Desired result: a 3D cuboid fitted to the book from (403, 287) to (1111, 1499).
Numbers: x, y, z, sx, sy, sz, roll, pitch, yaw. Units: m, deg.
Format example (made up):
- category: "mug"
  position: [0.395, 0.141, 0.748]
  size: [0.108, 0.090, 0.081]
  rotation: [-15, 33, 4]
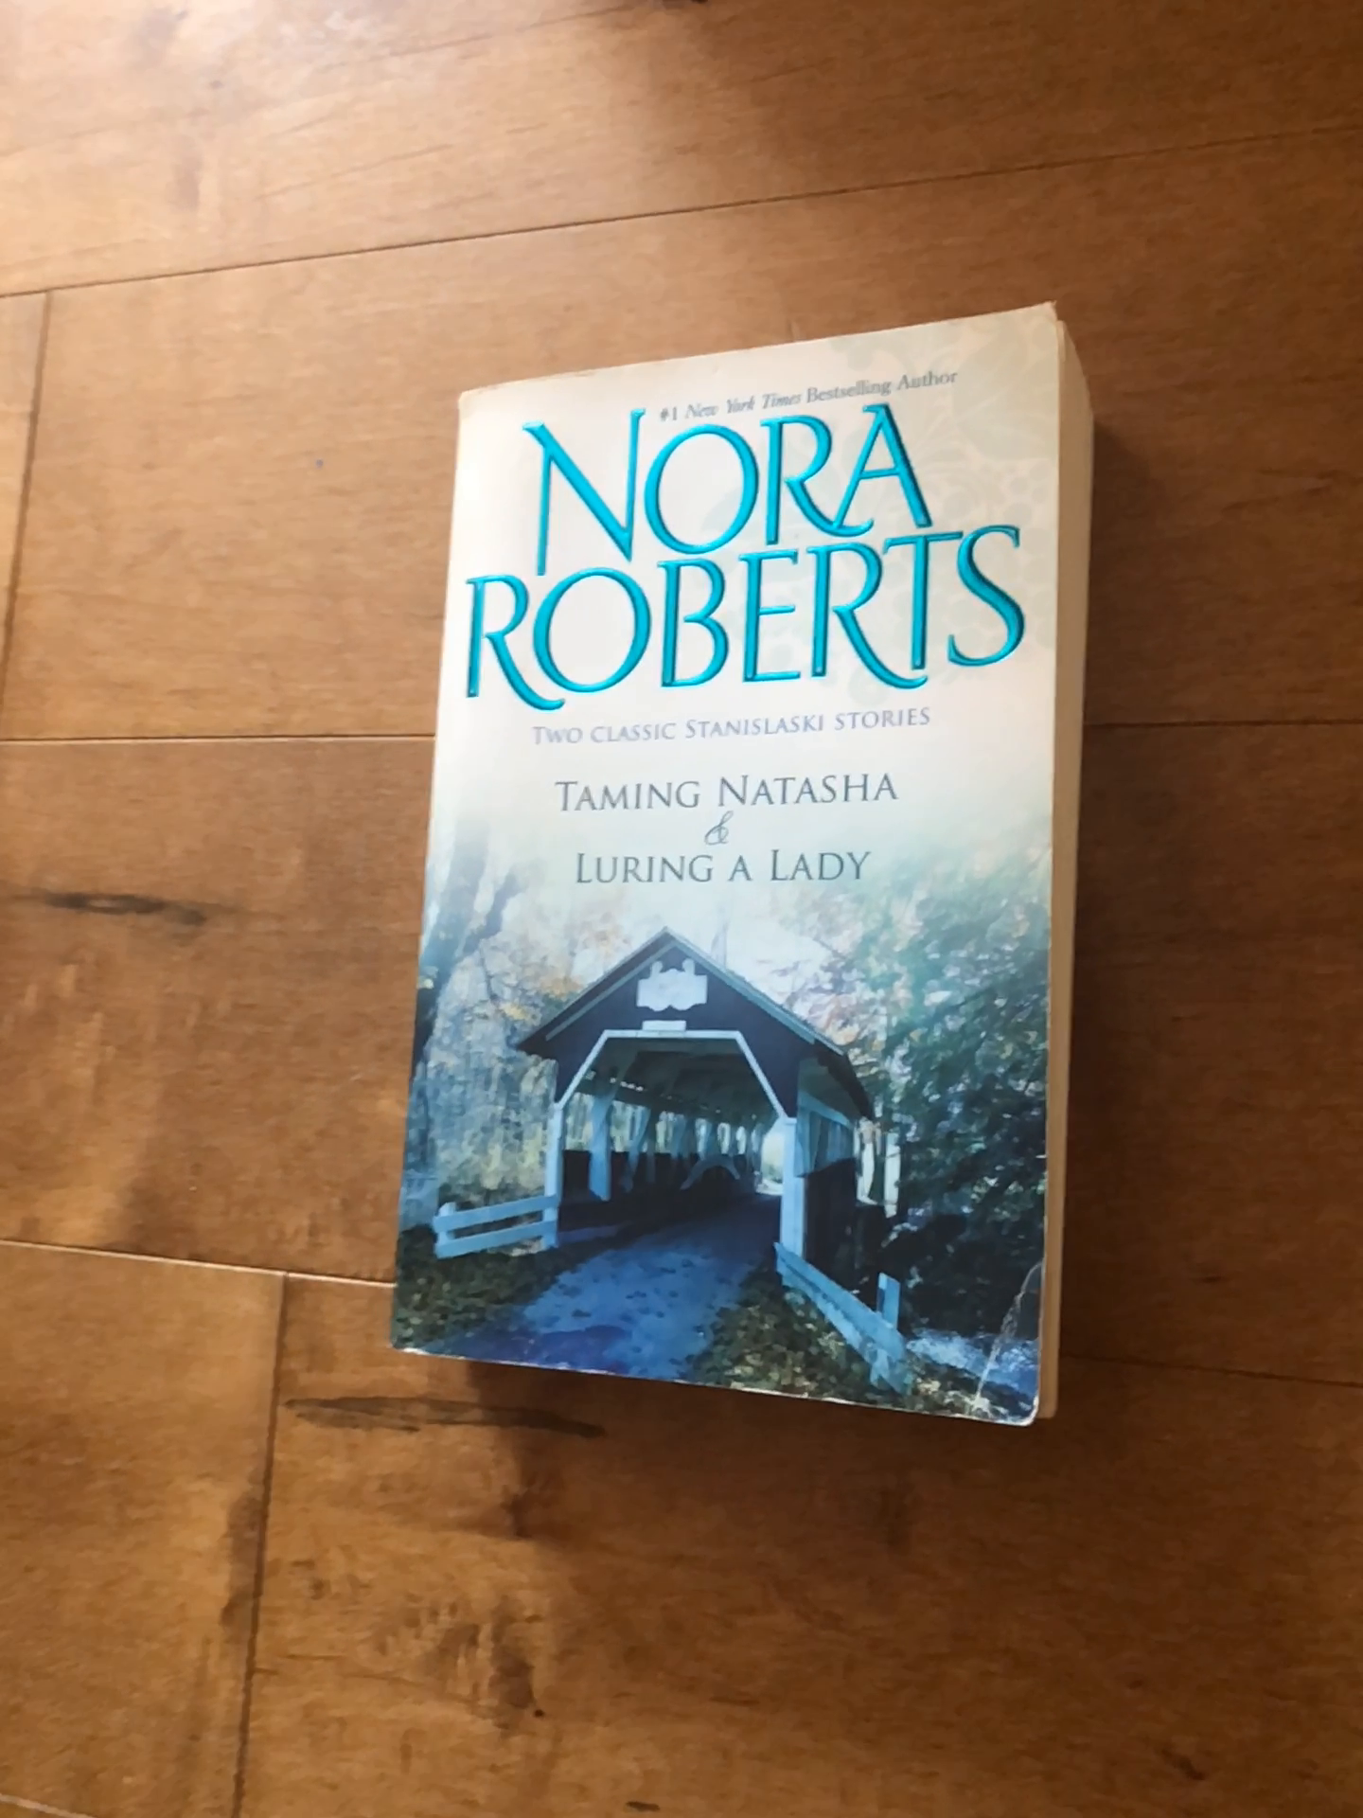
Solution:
- category: "book"
  position: [0.019, -0.007, 0.310]
  size: [0.130, 0.040, 0.220]
  rotation: [0, 82, 18]
